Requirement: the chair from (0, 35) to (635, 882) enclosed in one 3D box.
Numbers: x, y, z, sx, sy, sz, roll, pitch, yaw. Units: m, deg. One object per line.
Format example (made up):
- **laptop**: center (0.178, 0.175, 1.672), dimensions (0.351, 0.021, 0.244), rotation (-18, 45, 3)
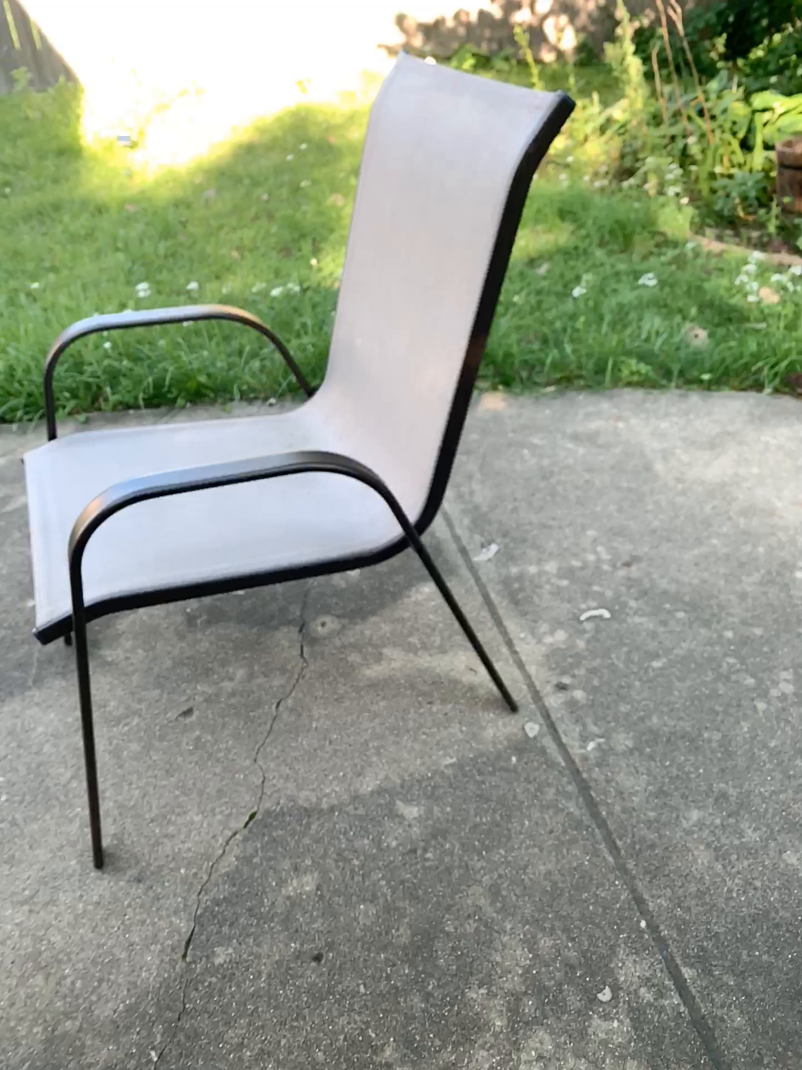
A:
- **chair**: center (-0.199, -0.132, 1.154), dimensions (0.740, 0.845, 0.574), rotation (-17, 39, -15)
